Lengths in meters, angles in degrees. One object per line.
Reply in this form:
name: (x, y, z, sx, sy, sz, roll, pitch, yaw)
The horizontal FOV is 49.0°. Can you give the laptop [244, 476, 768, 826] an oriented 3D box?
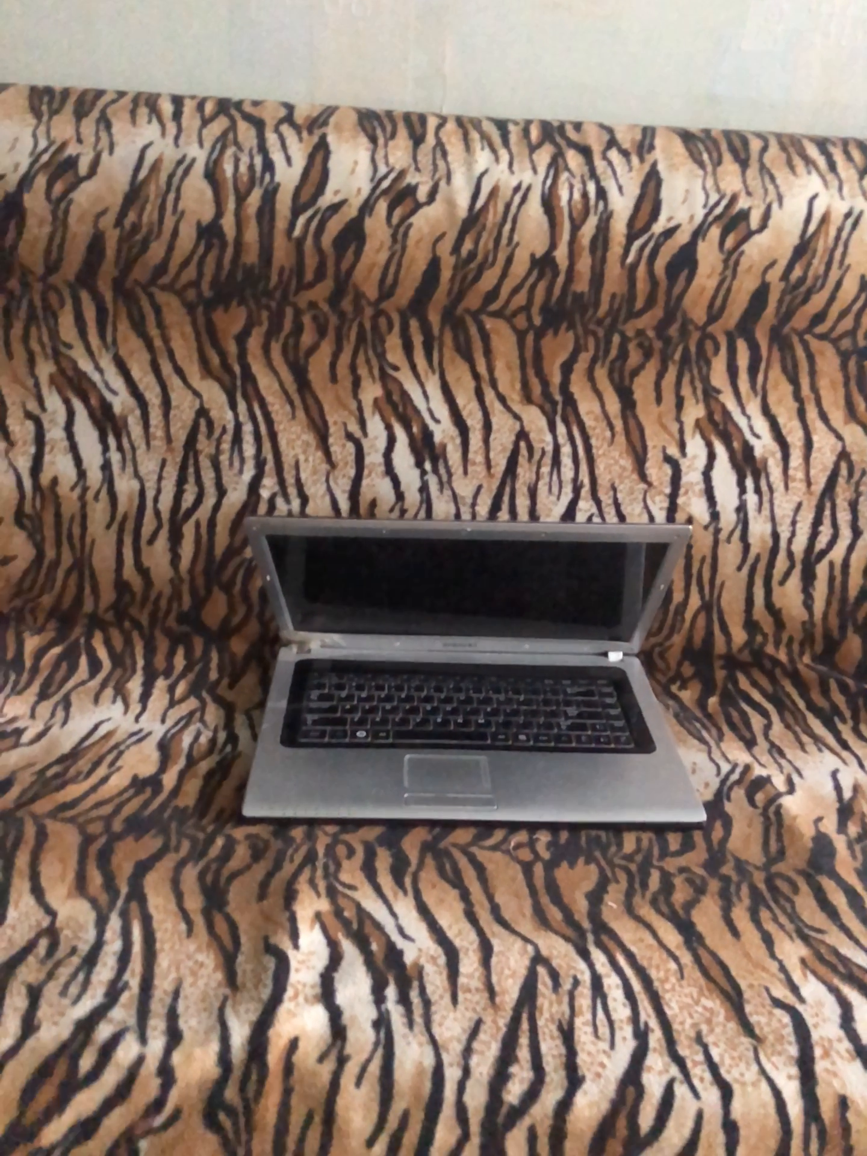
laptop: (0.040, 0.050, 0.781, 0.350, 0.179, 0.239, 2, 27, -3)
